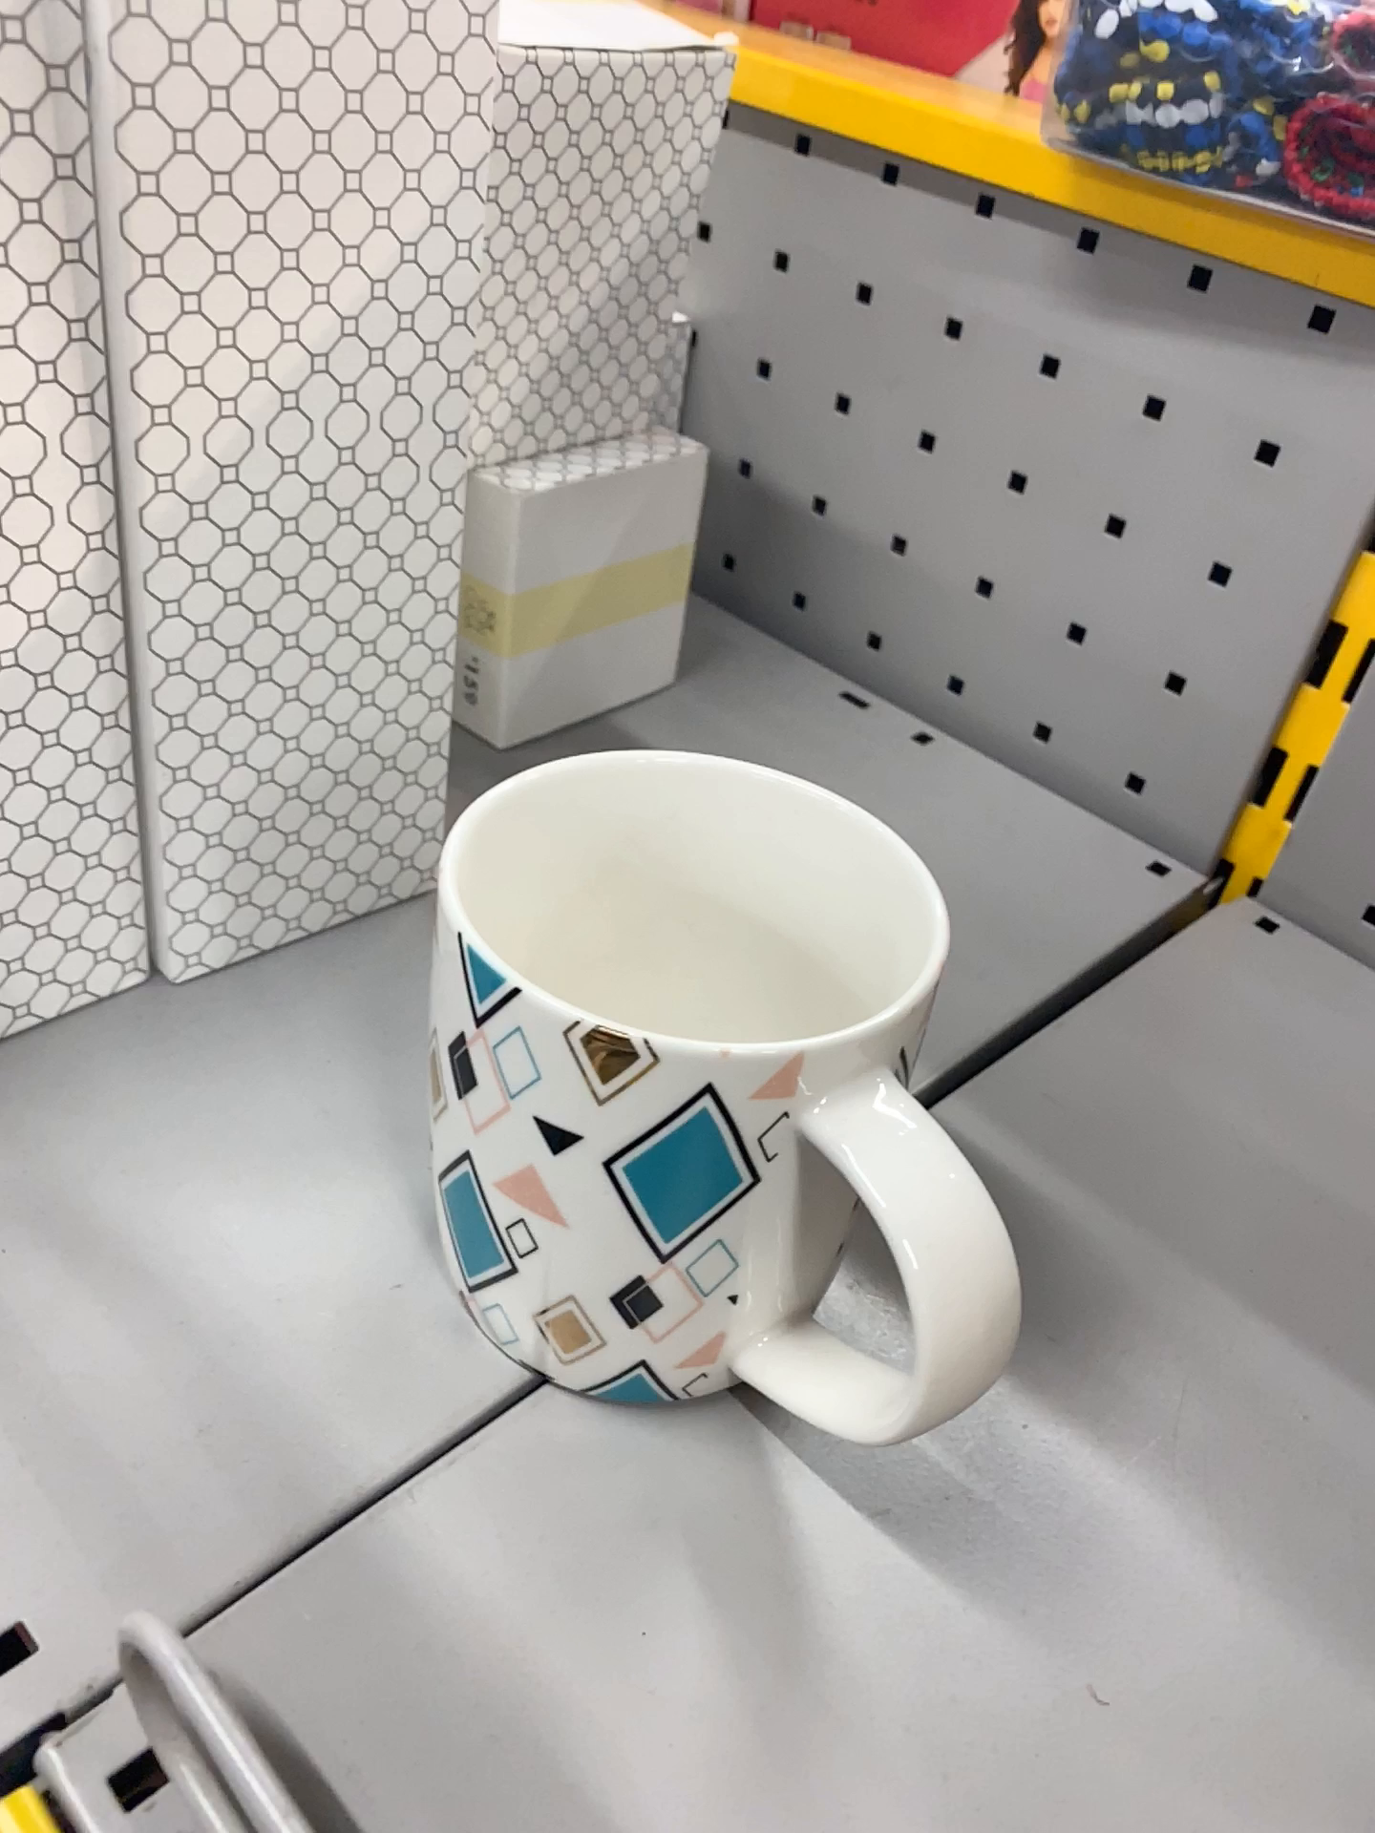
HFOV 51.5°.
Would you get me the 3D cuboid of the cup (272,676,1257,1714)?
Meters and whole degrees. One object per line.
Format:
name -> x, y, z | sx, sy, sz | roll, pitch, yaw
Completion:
cup -> 0.003, 0.035, 0.246 | 0.100, 0.090, 0.120 | -20, 47, -35
